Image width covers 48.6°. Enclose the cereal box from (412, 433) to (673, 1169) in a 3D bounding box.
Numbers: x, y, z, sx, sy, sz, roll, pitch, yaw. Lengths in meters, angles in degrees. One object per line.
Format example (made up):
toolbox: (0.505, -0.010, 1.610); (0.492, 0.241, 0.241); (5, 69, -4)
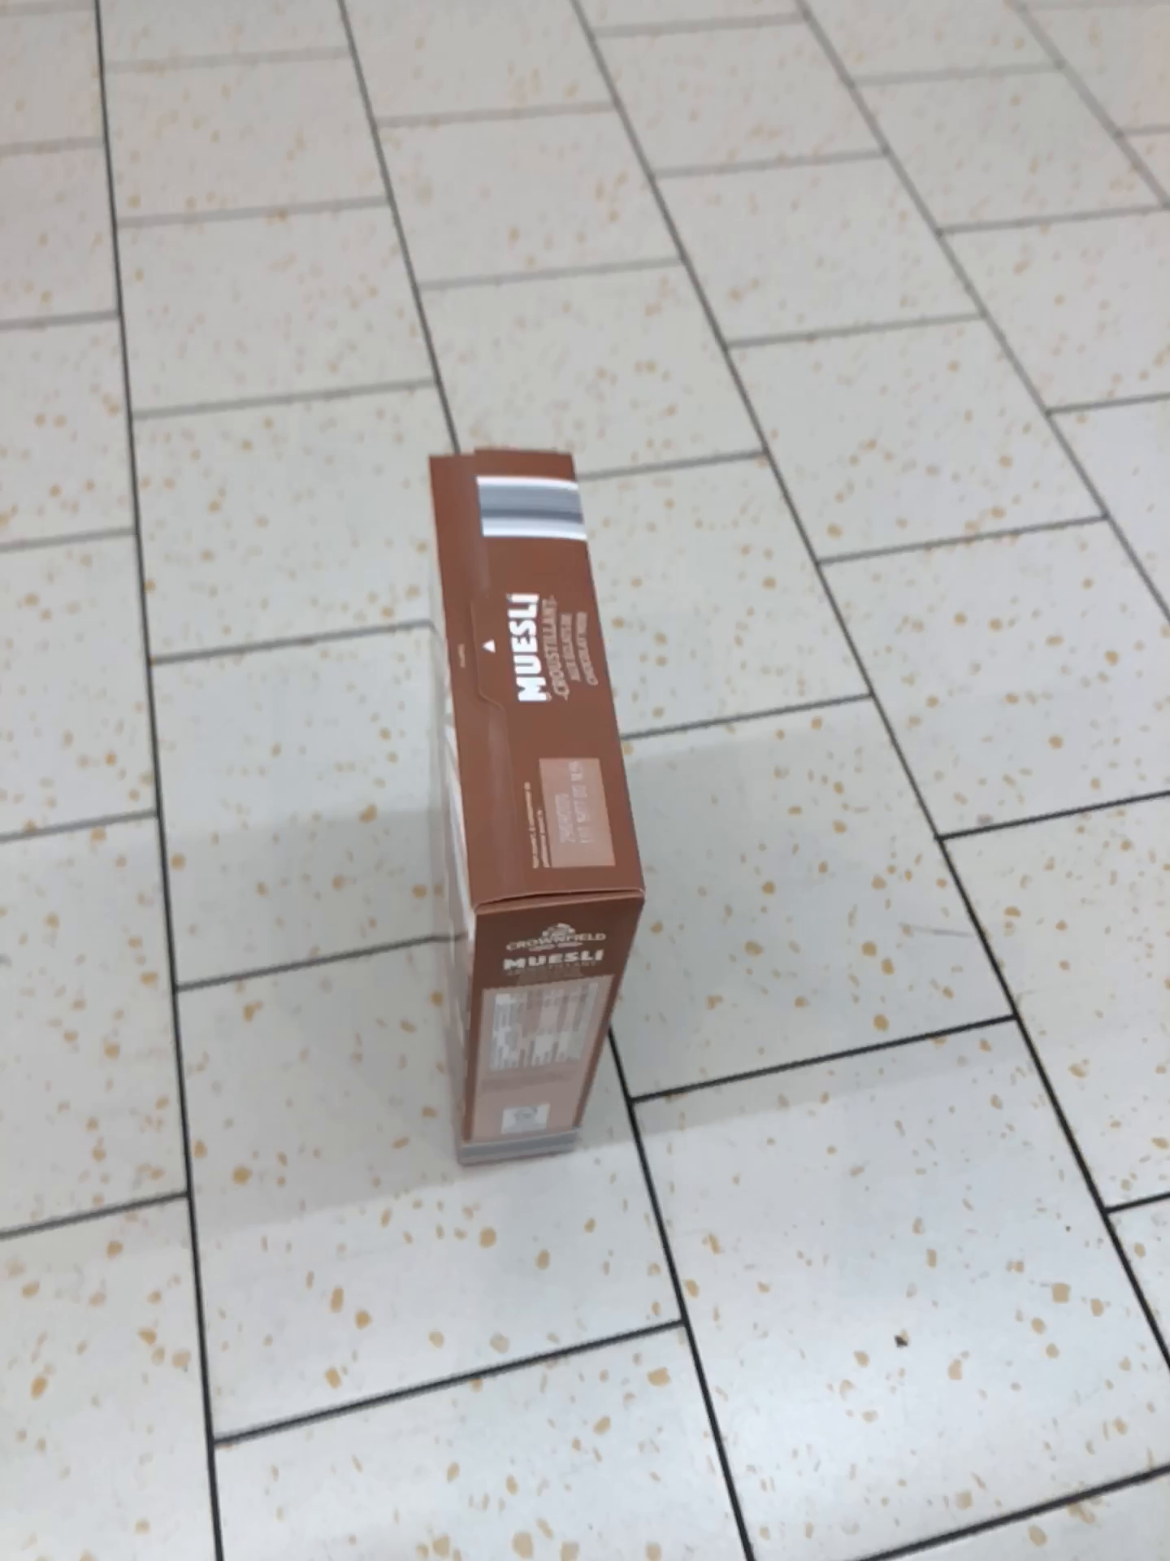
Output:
cereal box: (-0.026, 0.020, 0.529); (0.070, 0.239, 0.201); (-3, 57, -6)
